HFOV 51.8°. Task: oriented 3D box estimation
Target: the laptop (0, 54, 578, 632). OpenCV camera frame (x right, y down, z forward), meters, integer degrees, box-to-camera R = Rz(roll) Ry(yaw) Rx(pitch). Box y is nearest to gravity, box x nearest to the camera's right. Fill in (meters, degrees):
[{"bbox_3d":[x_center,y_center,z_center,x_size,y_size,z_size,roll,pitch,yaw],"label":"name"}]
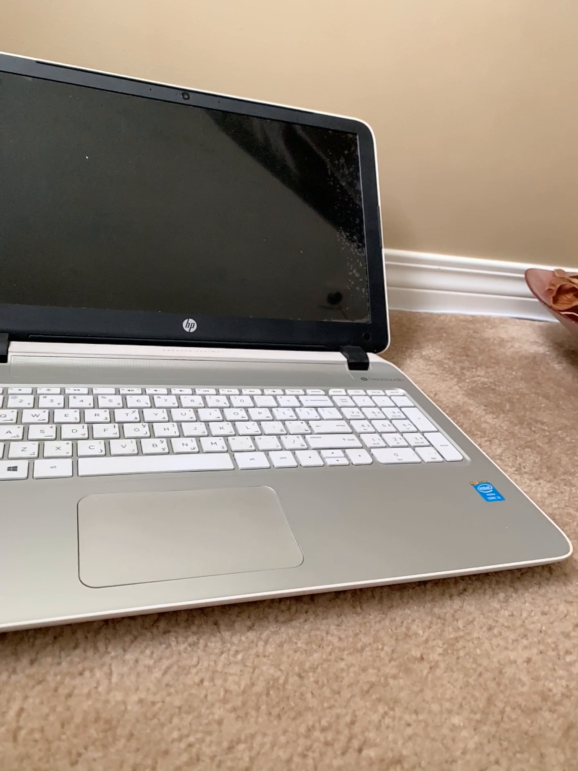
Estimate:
[{"bbox_3d":[-0.043,-0.073,0.387,0.349,0.187,0.351,0,29,-20],"label":"laptop"}]
